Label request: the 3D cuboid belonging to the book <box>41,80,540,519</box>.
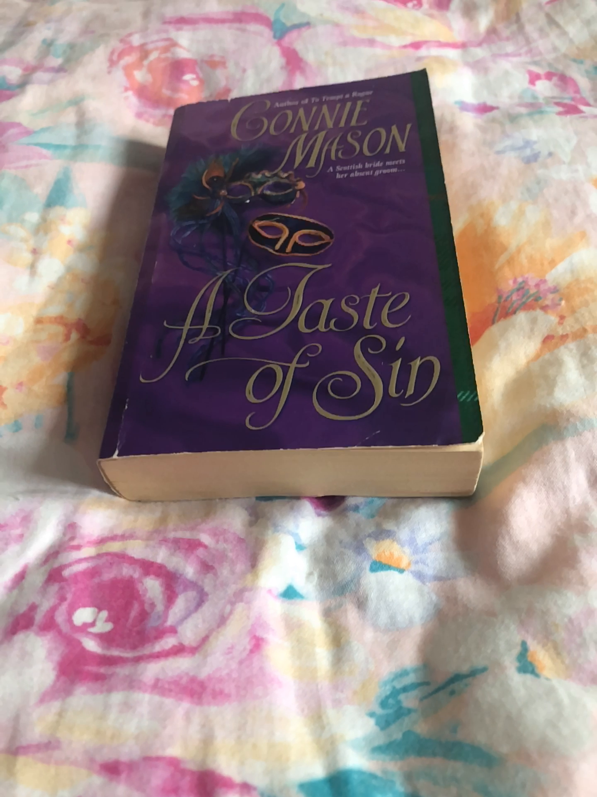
[{"bbox_3d":[-0.003,-0.049,0.233,0.120,0.040,0.181,-1,50,0],"label":"book"}]
